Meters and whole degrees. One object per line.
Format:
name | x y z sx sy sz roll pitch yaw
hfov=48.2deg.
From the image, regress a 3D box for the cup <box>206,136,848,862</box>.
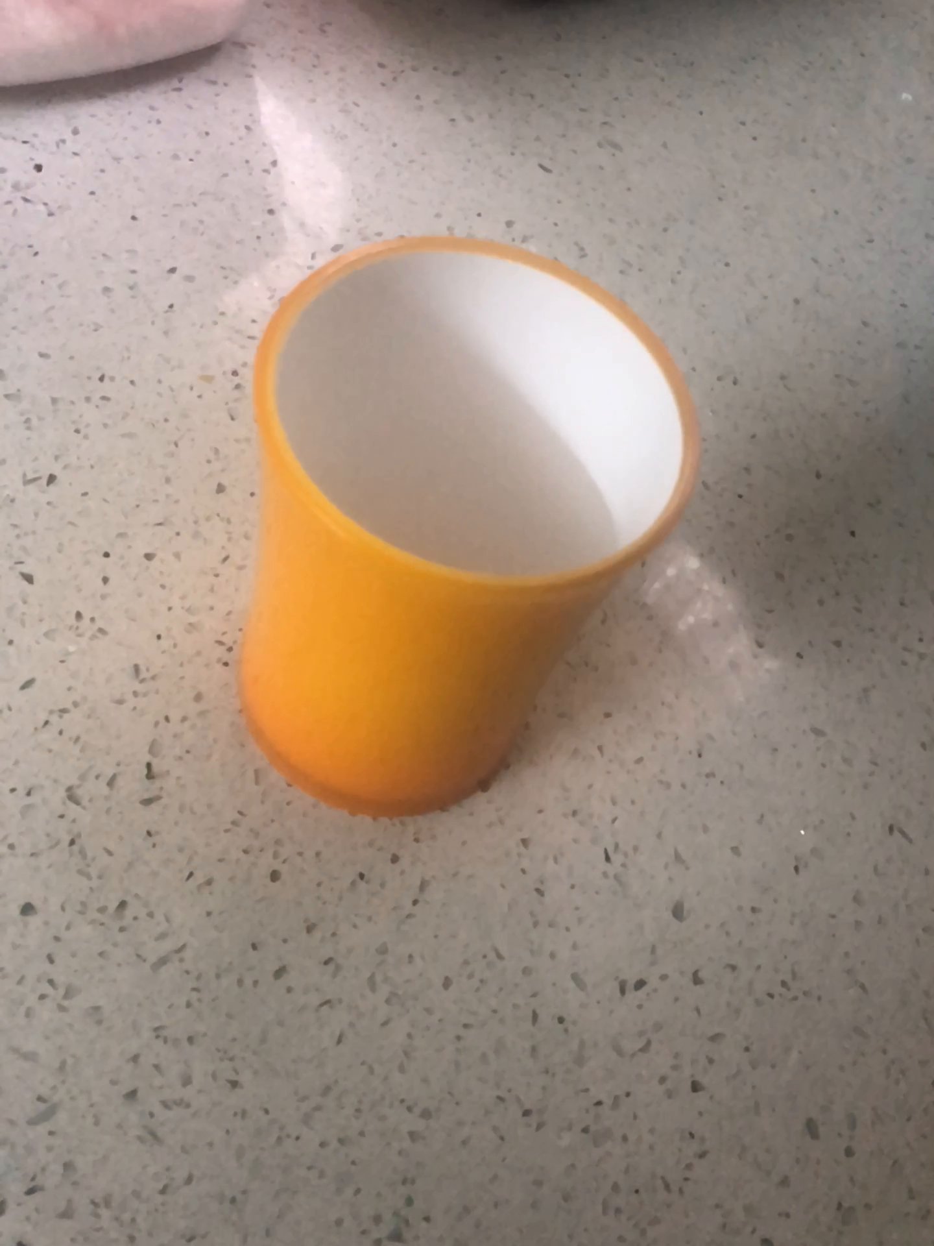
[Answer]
cup | -0.005 -0.015 0.199 0.080 0.110 0.080 7 59 -11
